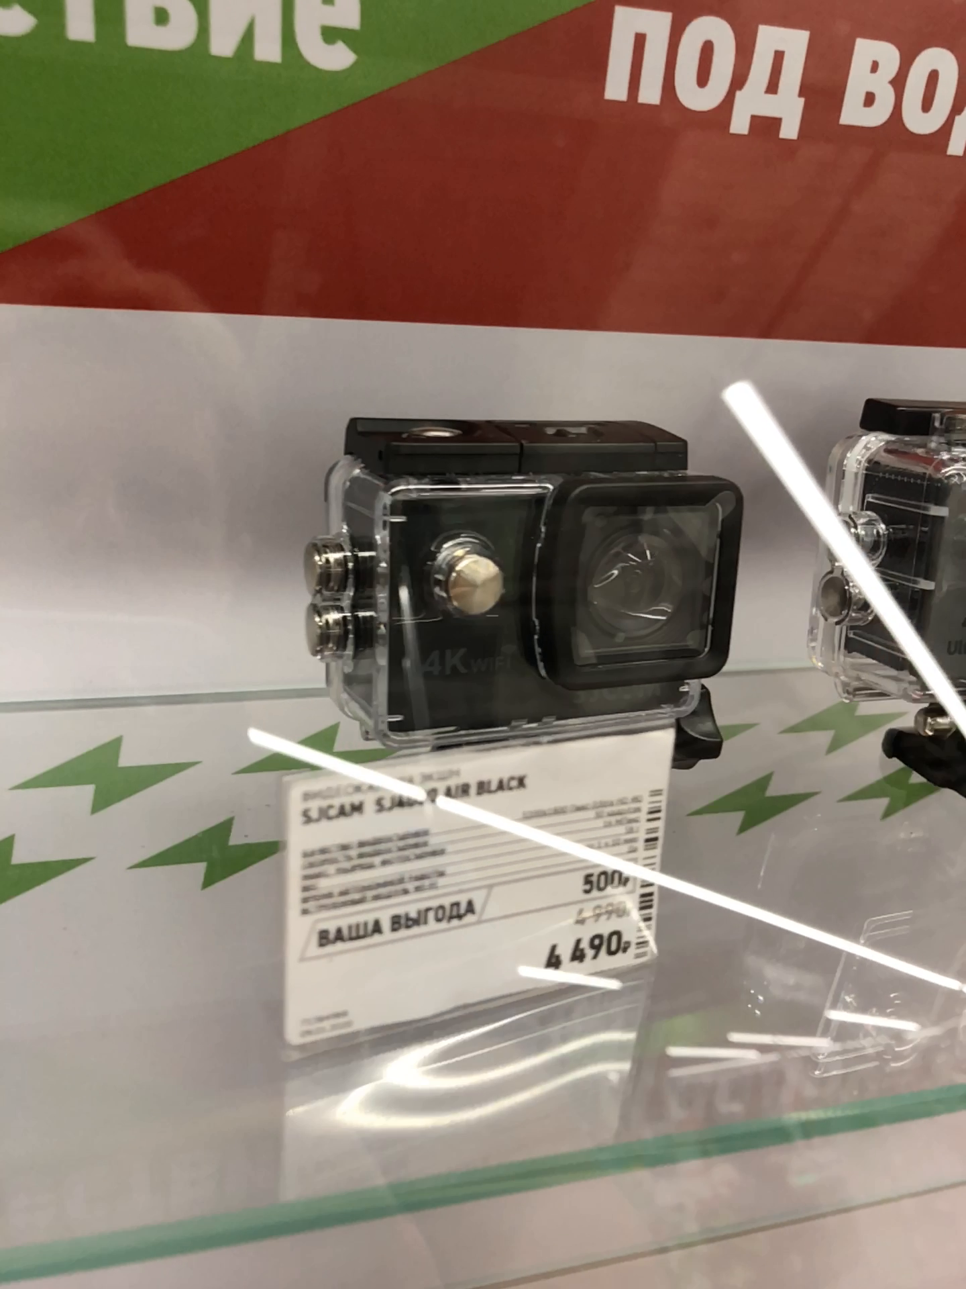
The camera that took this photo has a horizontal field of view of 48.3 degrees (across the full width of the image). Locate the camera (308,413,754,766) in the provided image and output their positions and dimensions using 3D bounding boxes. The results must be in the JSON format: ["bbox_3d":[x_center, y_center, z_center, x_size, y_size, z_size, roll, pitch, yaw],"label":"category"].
[{"bbox_3d":[0.008,-0.014,0.202,0.074,0.056,0.033,-5,16,-23],"label":"camera"}]
